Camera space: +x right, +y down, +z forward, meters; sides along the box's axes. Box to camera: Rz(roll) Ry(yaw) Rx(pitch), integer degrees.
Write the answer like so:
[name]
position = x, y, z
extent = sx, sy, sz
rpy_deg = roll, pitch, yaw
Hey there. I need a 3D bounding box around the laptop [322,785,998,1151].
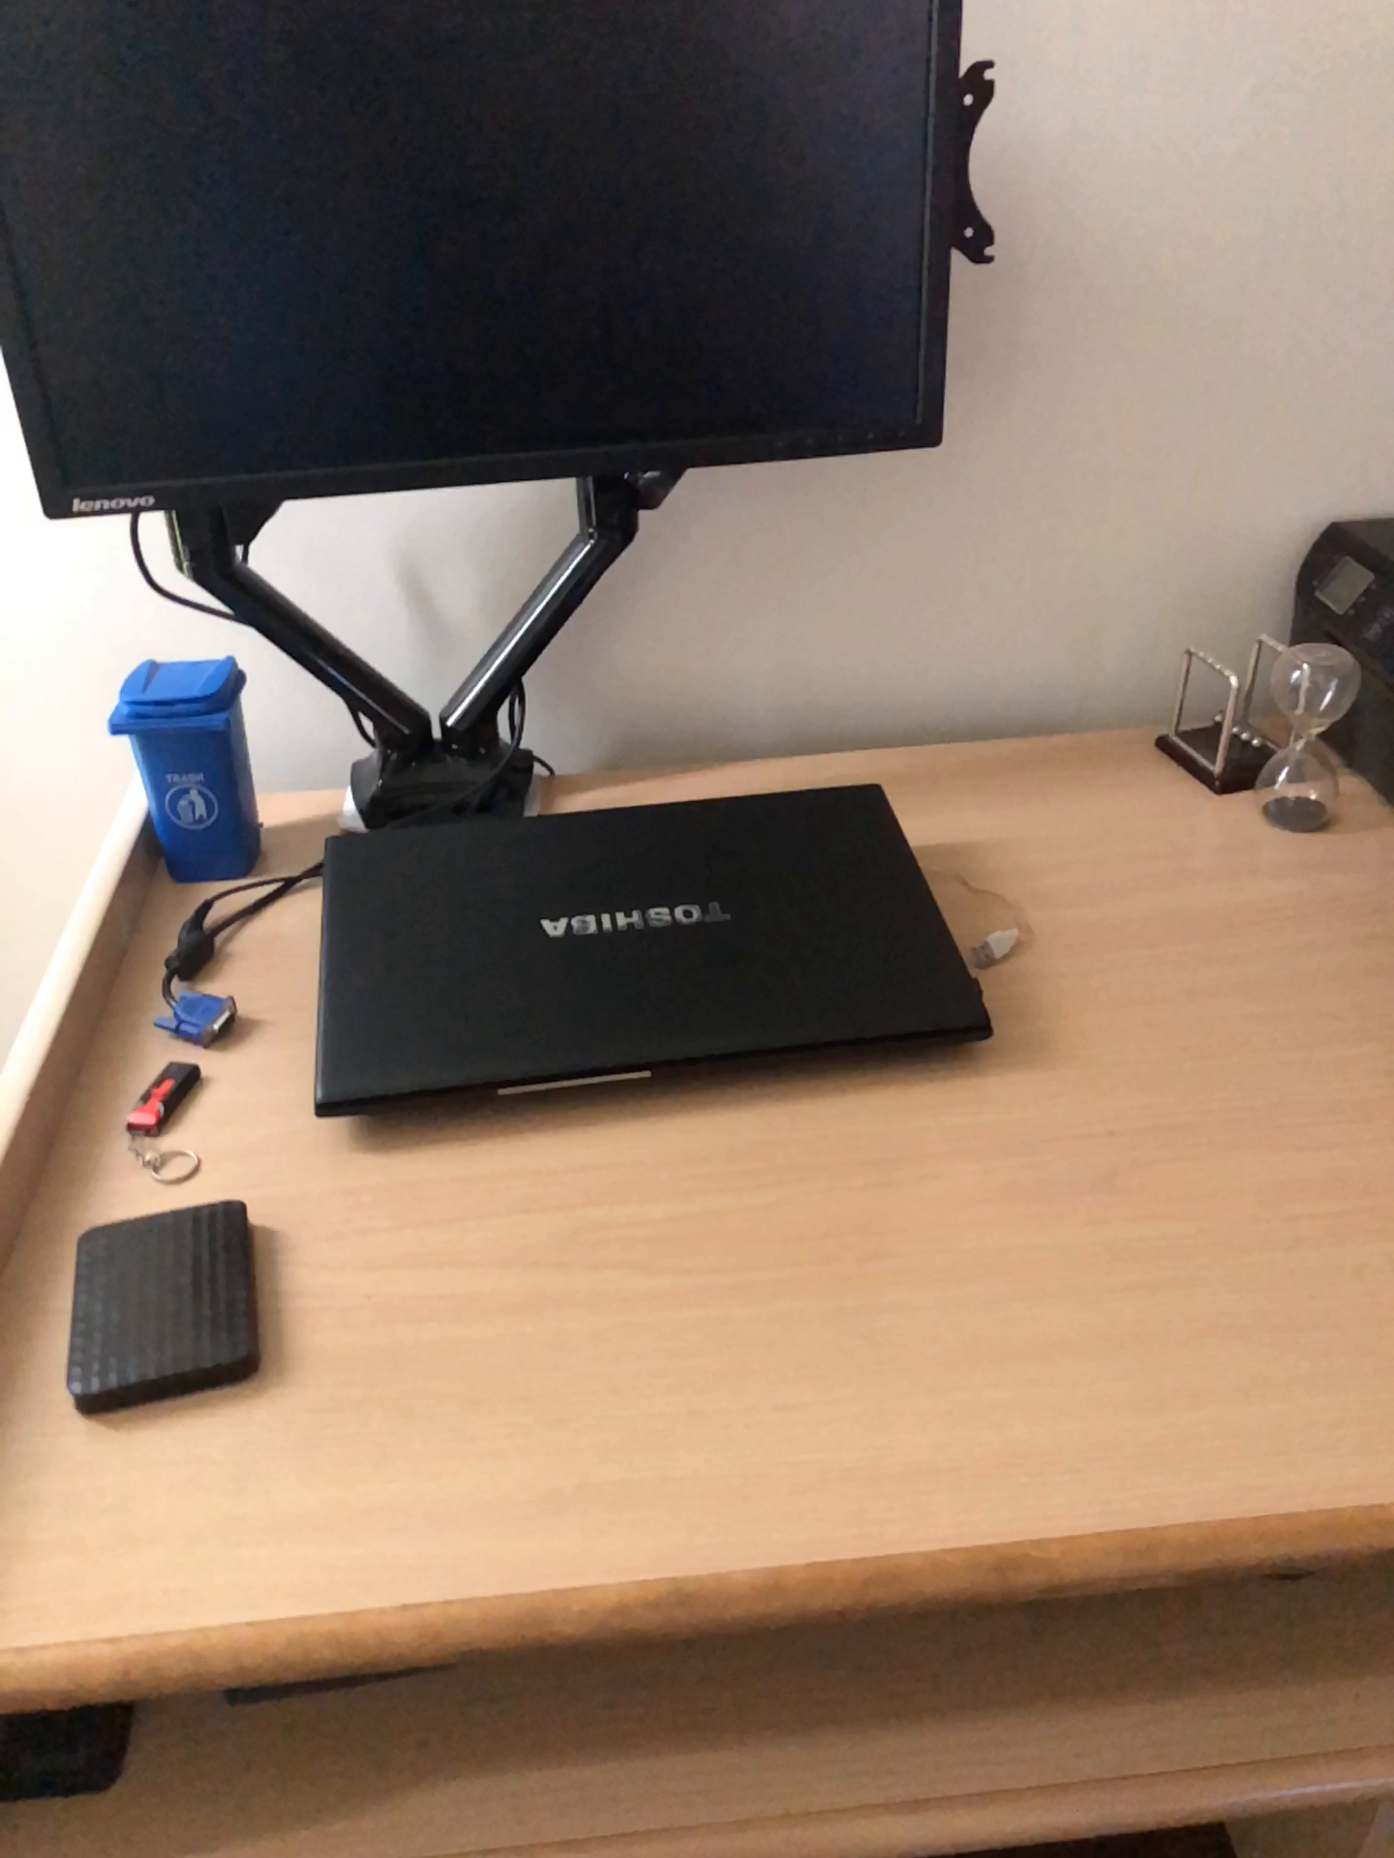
[laptop]
position = -0.037, 0.011, 0.960
extent = 0.380, 0.029, 0.258
rpy_deg = -6, 39, -7
